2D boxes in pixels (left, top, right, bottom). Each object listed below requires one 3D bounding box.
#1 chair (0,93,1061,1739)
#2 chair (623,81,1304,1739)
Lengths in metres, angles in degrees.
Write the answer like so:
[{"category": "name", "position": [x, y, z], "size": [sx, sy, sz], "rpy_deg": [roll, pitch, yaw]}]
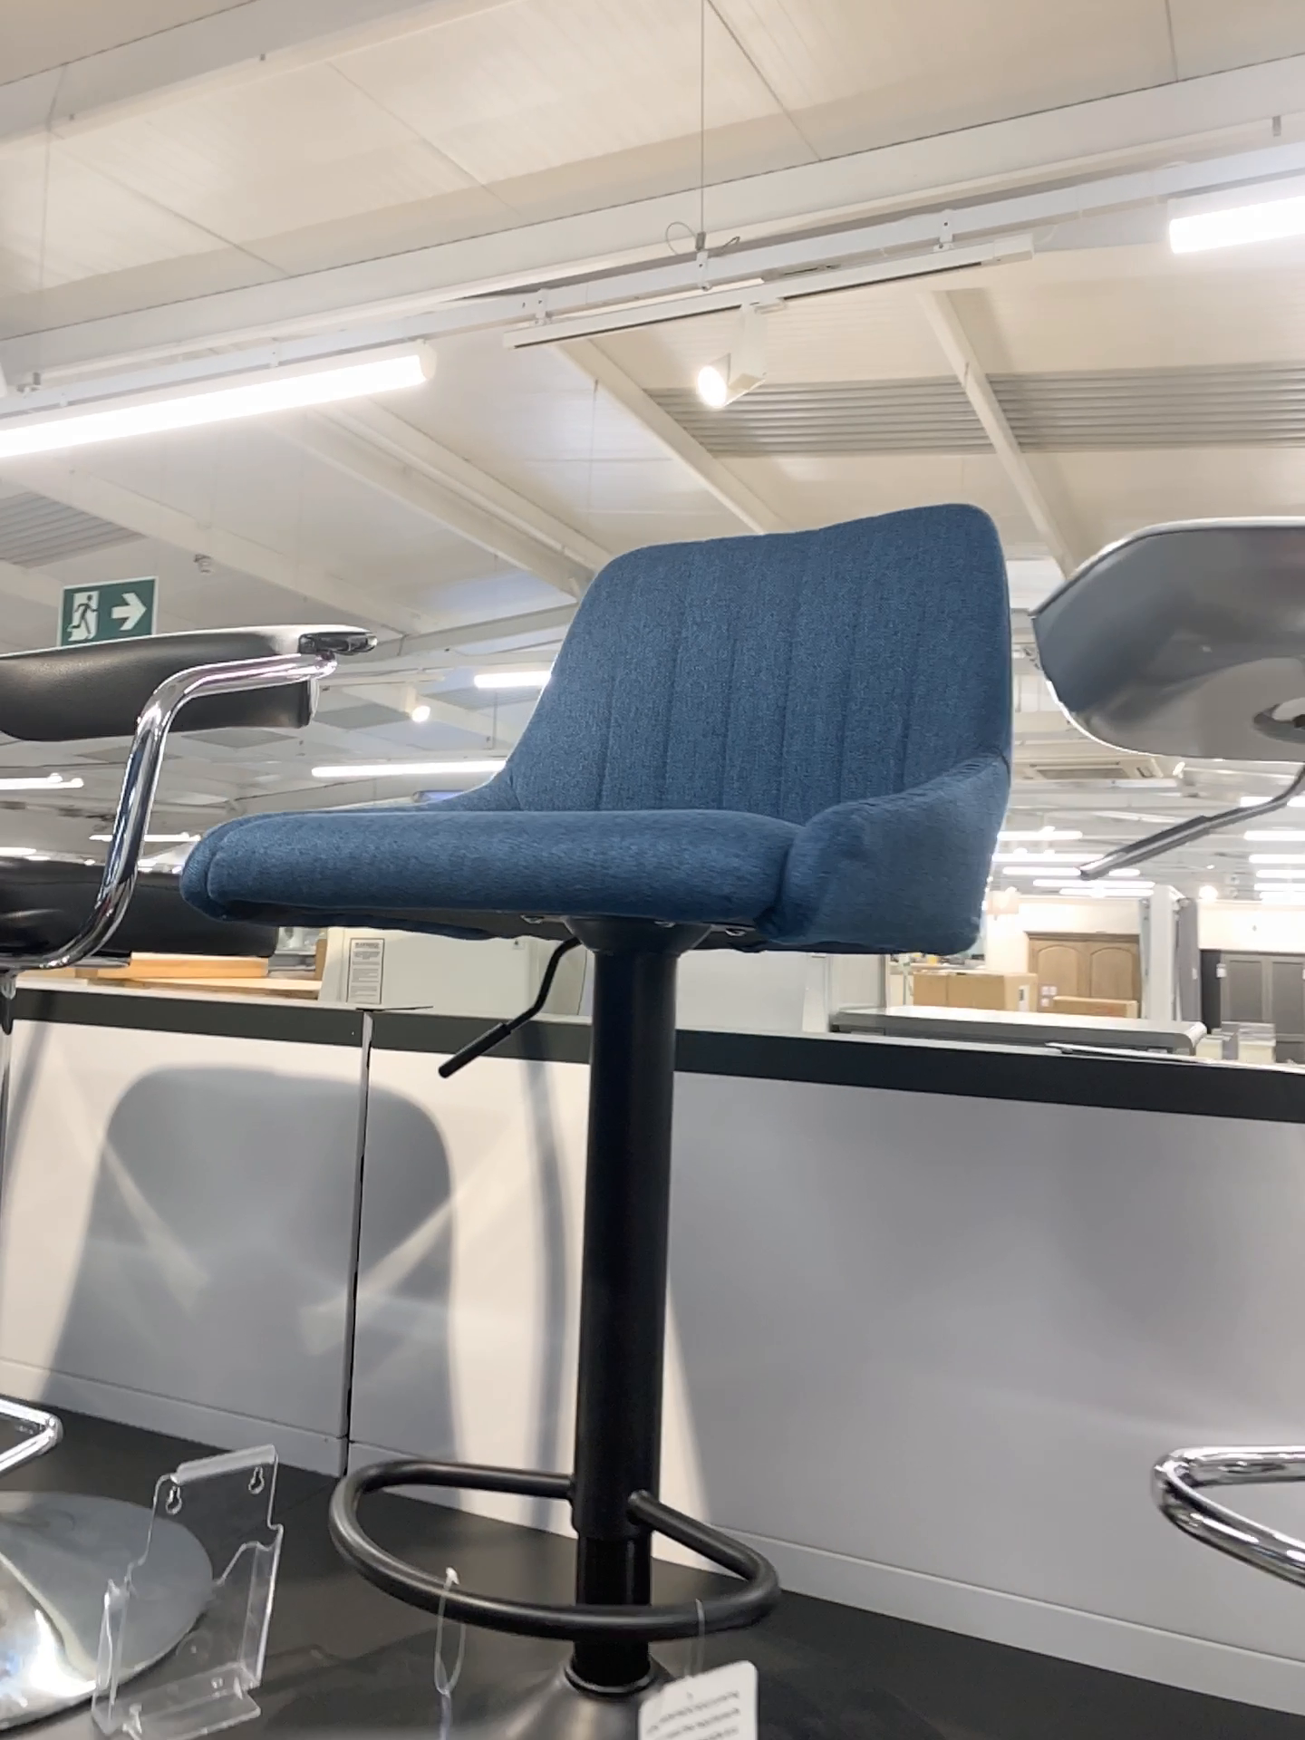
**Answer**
[{"category": "chair", "position": [-0.055, 0.125, 0.864], "size": [0.539, 0.873, 0.507], "rpy_deg": [0, -5, 25]}, {"category": "chair", "position": [0.270, 0.161, 0.618], "size": [0.409, 0.763, 0.387], "rpy_deg": [0, -5, 25]}]
